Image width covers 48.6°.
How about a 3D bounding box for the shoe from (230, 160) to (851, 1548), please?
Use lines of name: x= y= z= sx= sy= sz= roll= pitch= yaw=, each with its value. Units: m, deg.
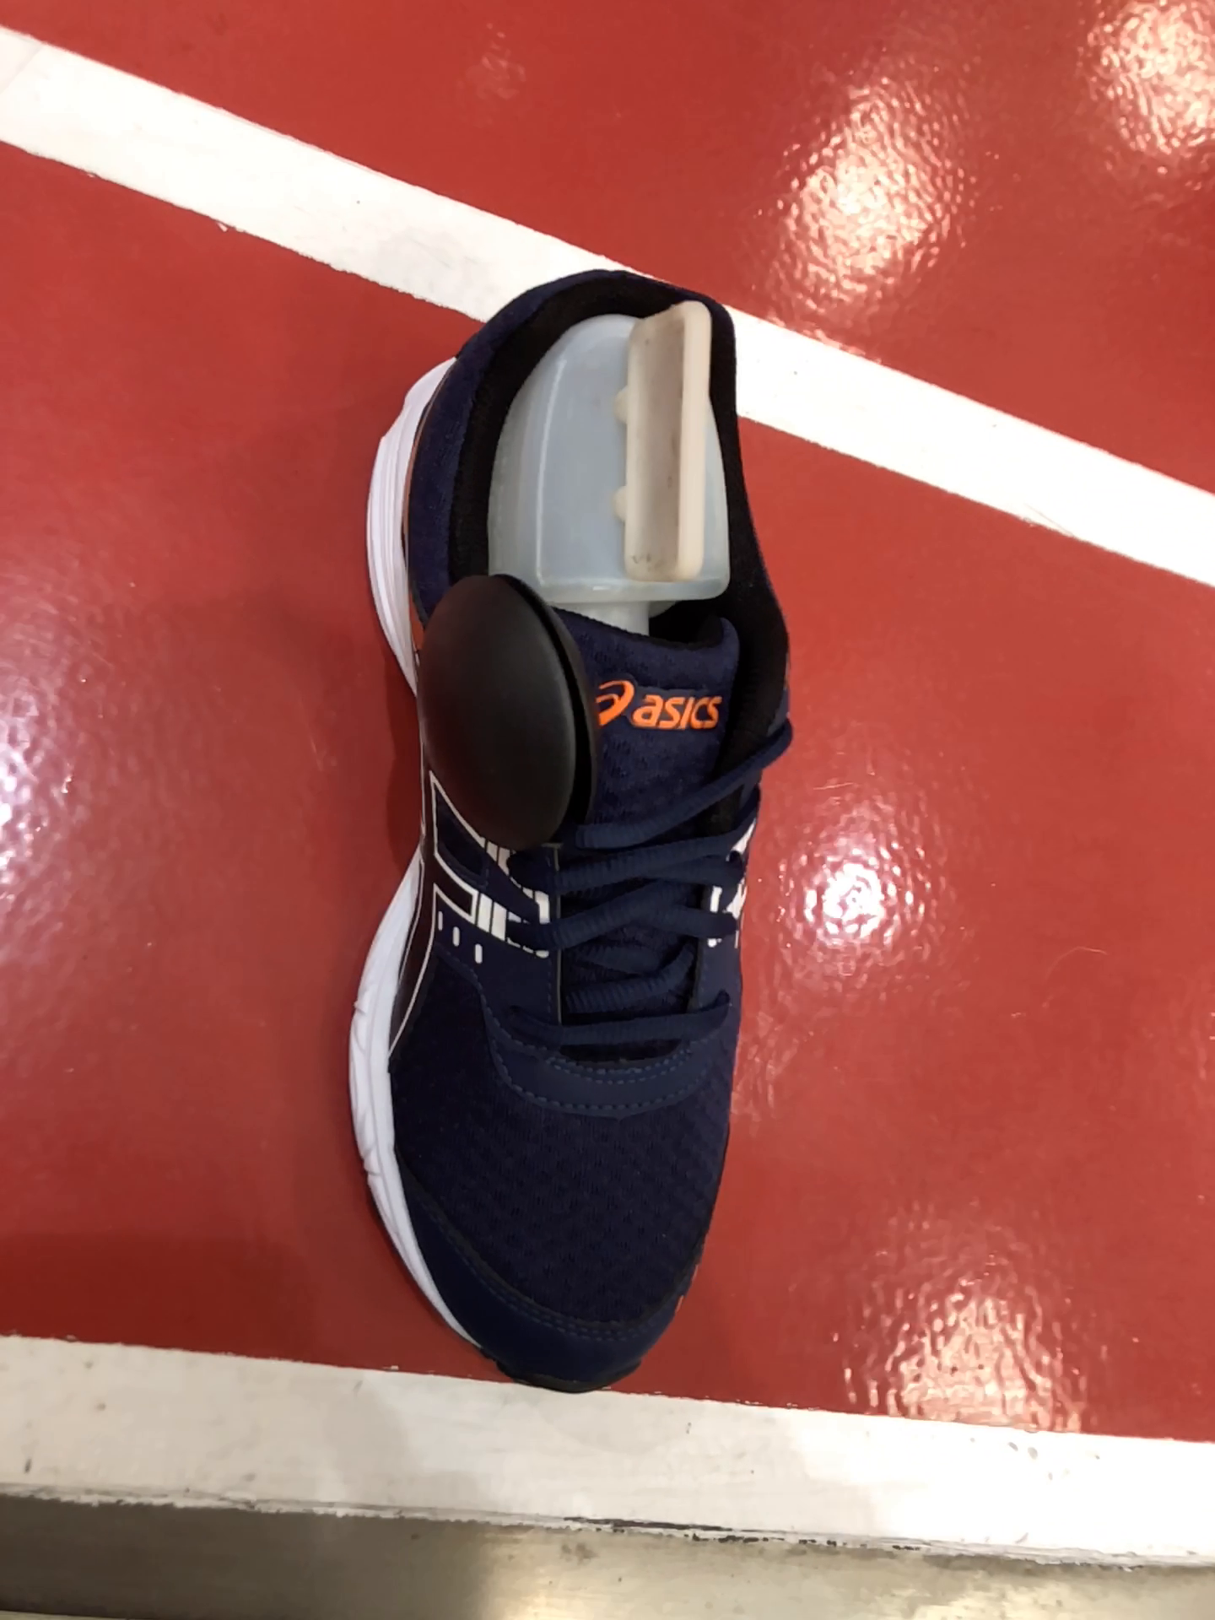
shoe: x=-0.025 y=0.006 z=0.294 sx=0.100 sy=0.100 sz=0.240 roll=0 pitch=81 yaw=-21
